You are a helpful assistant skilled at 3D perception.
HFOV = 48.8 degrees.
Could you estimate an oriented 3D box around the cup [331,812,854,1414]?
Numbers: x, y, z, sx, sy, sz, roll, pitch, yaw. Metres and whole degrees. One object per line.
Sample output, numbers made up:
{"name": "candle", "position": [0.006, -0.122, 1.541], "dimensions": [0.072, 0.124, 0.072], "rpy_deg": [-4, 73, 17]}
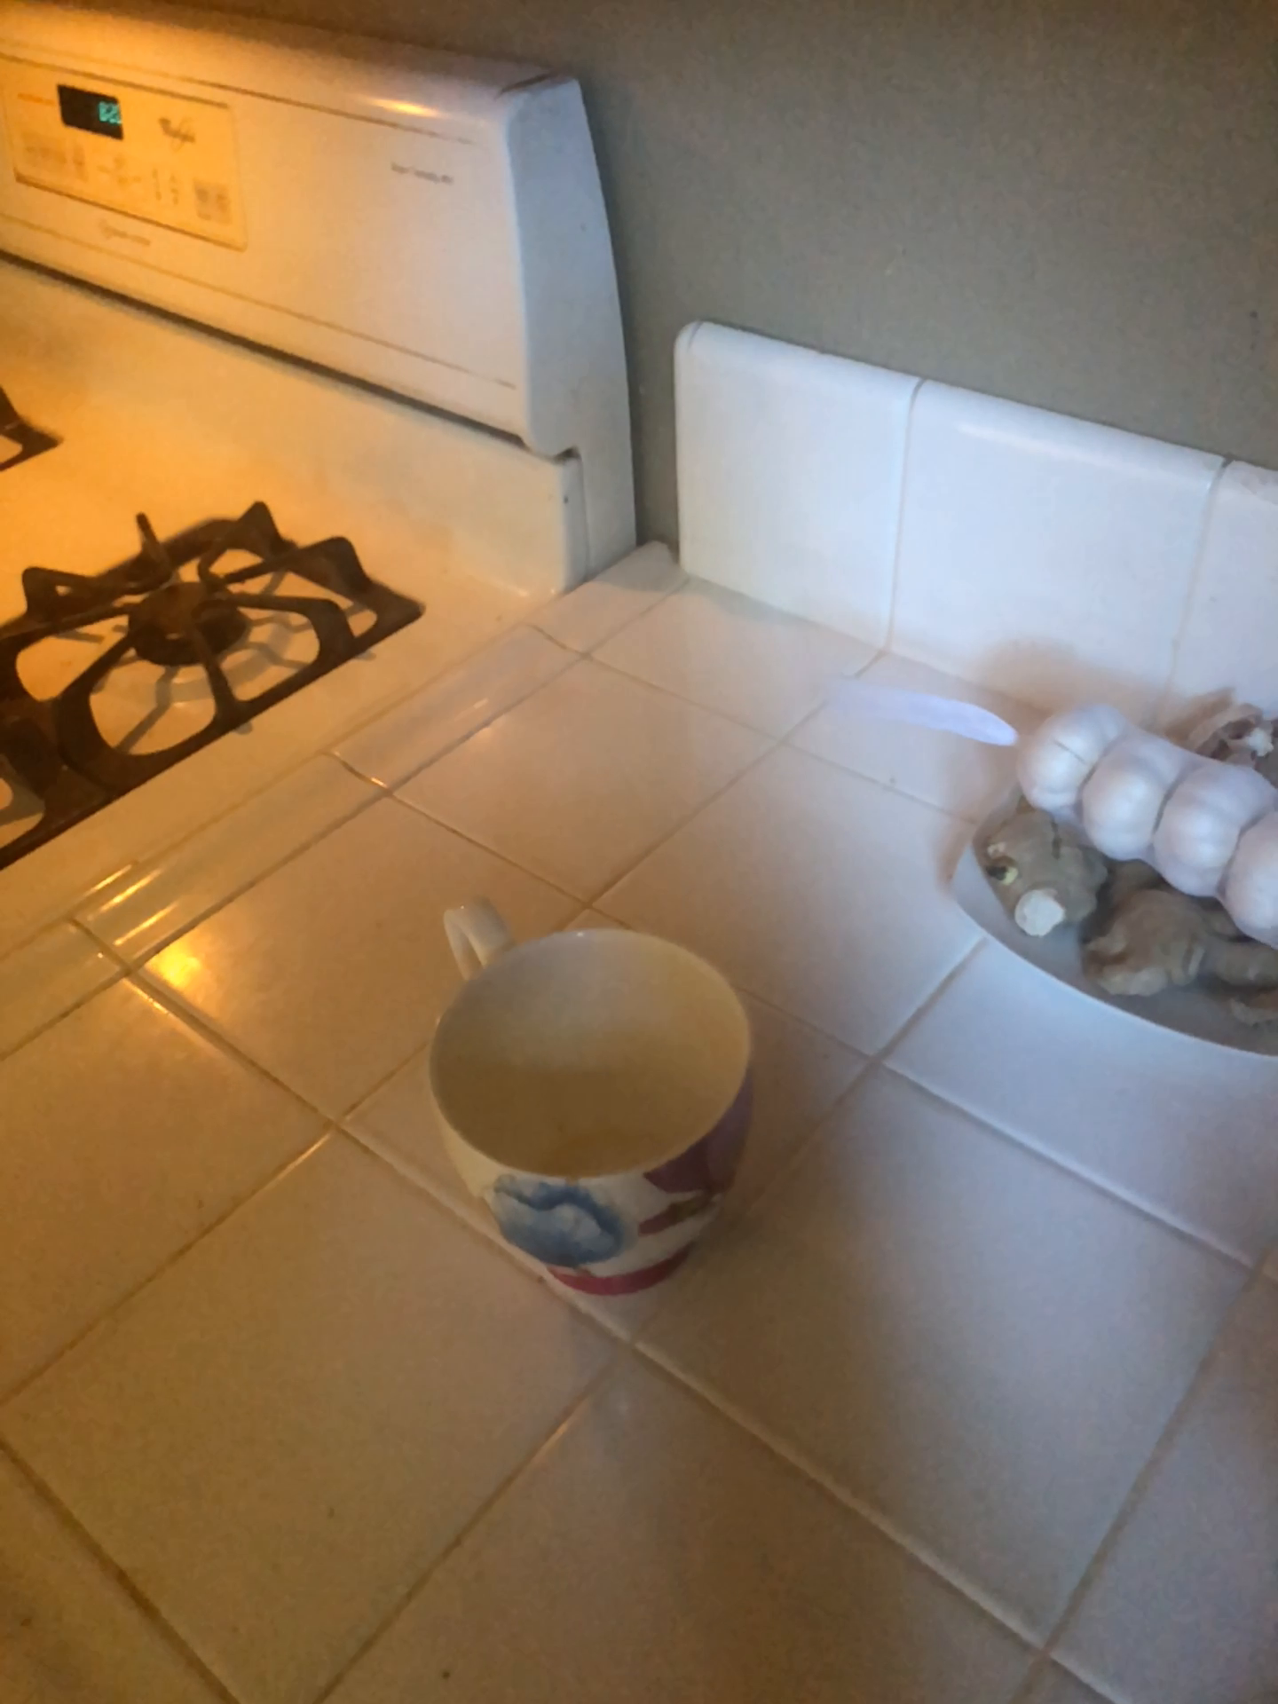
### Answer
{"name": "cup", "position": [-0.019, 0.084, 0.502], "dimensions": [0.100, 0.089, 0.171], "rpy_deg": [-26, 46, -23]}
